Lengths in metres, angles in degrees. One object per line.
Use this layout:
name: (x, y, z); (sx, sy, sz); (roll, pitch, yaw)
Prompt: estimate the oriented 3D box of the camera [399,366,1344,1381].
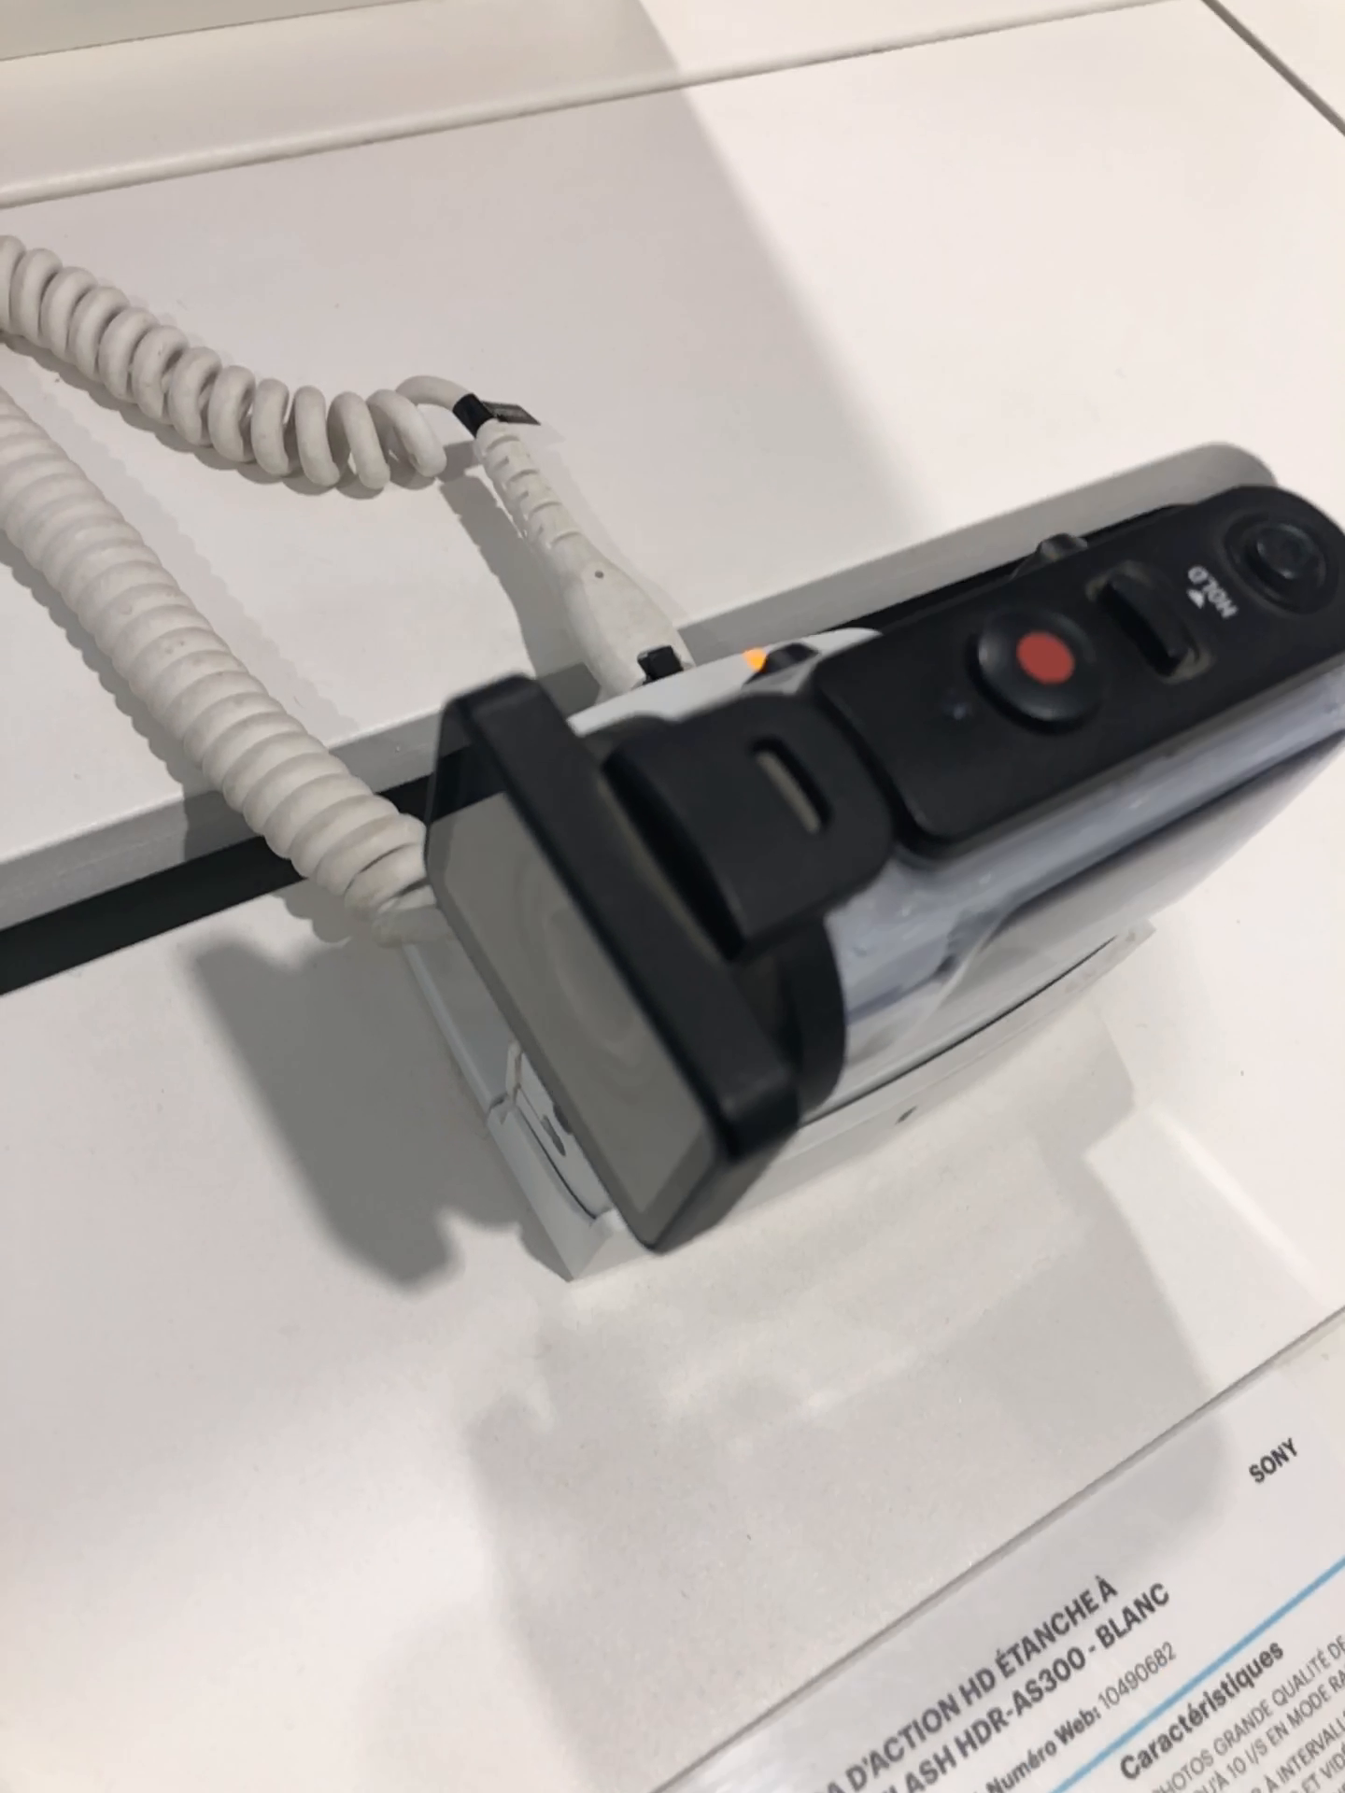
camera: (0.028, -0.005, 0.140); (0.093, 0.044, 0.049); (-24, 67, -24)
